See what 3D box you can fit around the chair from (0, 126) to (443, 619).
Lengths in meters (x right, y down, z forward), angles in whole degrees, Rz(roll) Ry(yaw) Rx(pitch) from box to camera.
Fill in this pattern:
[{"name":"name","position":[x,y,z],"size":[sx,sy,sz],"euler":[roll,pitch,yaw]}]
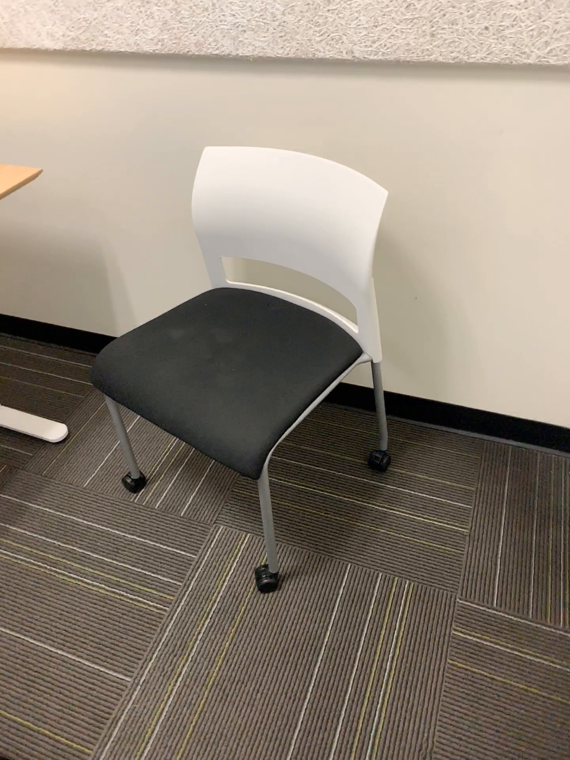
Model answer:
[{"name":"chair","position":[-0.101,-0.050,1.352],"size":[0.622,0.775,0.622],"euler":[23,48,27]}]
